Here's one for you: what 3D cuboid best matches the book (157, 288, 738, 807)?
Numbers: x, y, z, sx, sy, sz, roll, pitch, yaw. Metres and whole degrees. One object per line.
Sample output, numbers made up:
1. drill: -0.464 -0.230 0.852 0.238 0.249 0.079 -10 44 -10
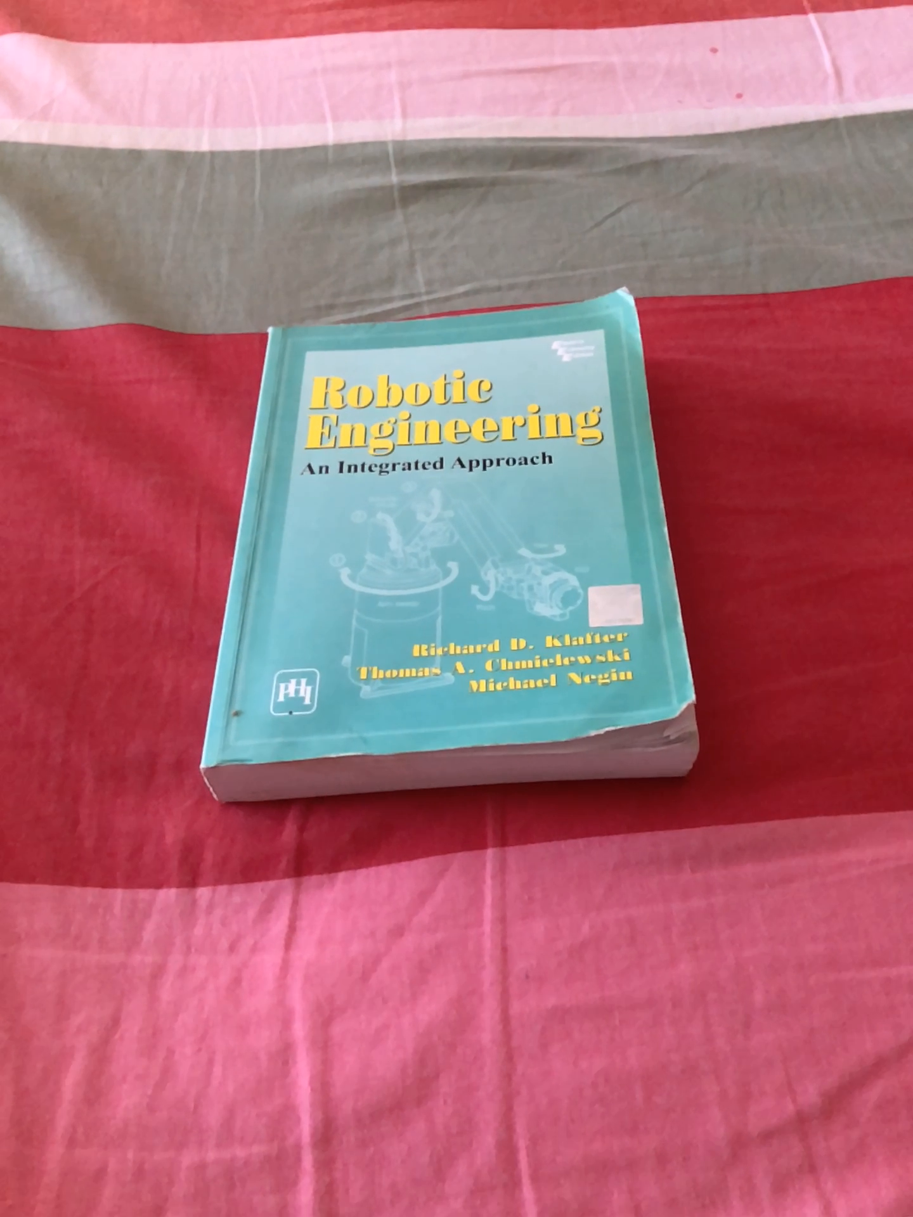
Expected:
1. book: -0.003 -0.033 0.376 0.171 0.043 0.205 -2 54 2
